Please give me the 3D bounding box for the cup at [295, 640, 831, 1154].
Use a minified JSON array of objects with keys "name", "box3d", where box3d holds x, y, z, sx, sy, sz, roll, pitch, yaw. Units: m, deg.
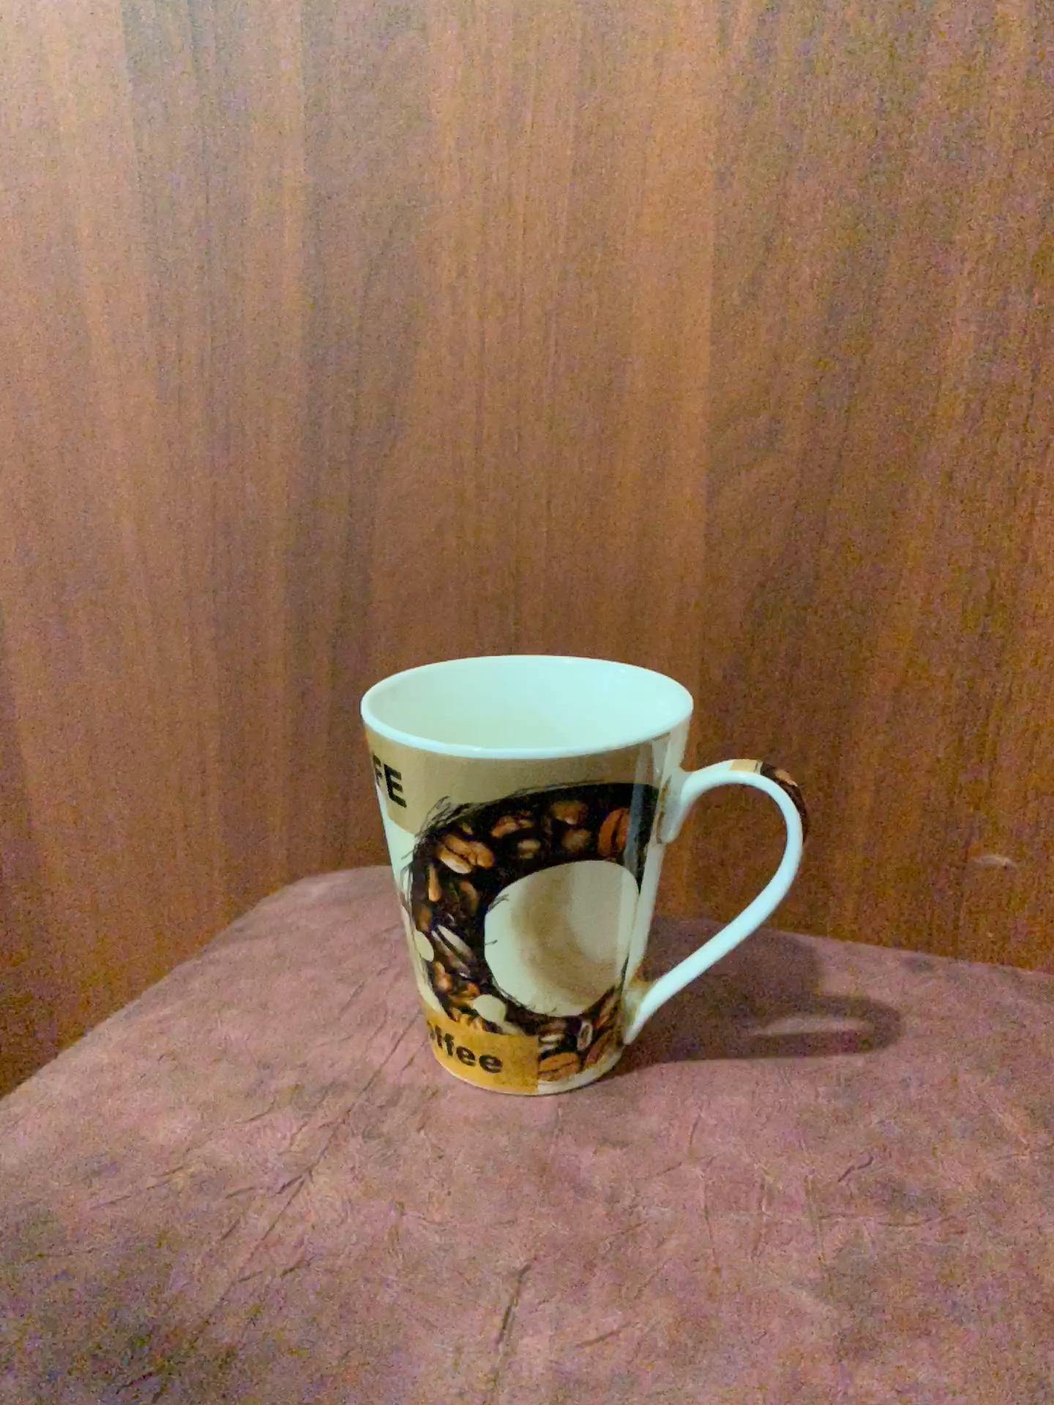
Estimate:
[{"name":"cup","box3d":[0.016,0.042,0.303,0.119,0.092,0.095,5,17,19]}]
